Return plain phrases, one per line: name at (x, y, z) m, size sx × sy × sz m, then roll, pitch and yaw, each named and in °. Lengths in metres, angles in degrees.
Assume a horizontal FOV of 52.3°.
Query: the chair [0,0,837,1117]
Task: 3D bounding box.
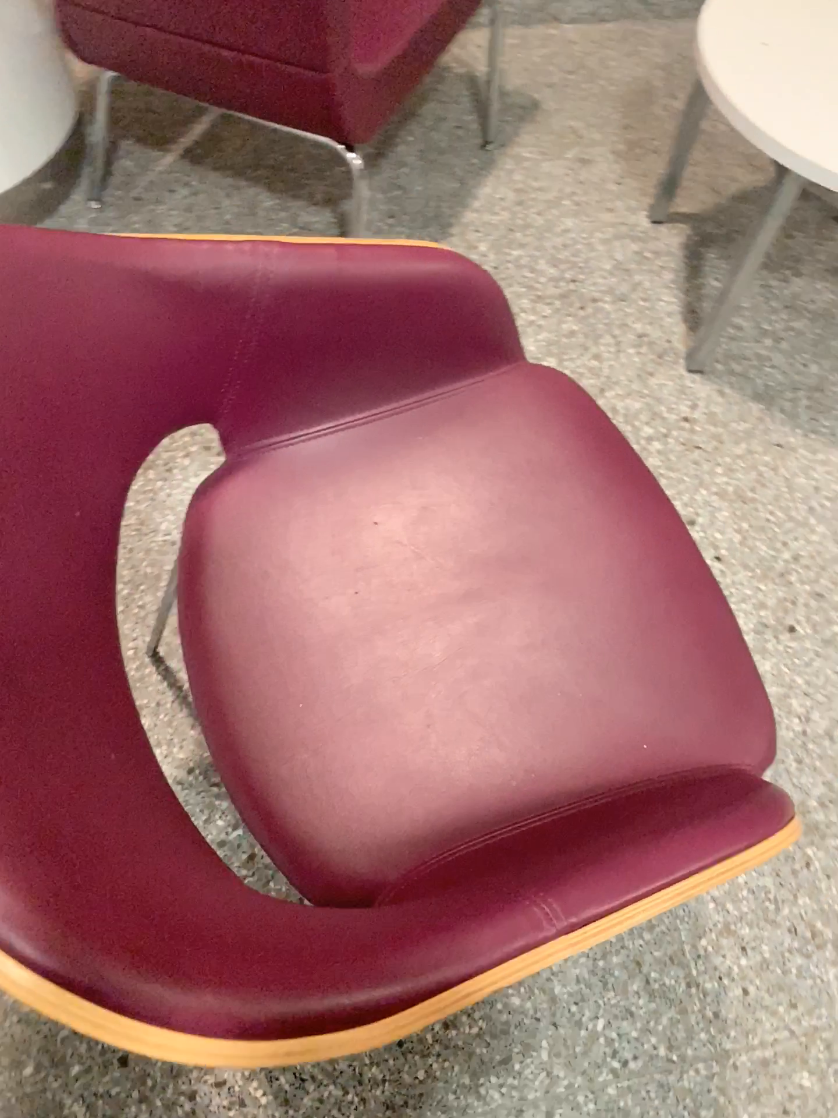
chair at (0.021, 0.041, 0.727) m, size 0.631 × 0.735 × 0.573 m, roll -16°, pitch 63°, yaw -12°
